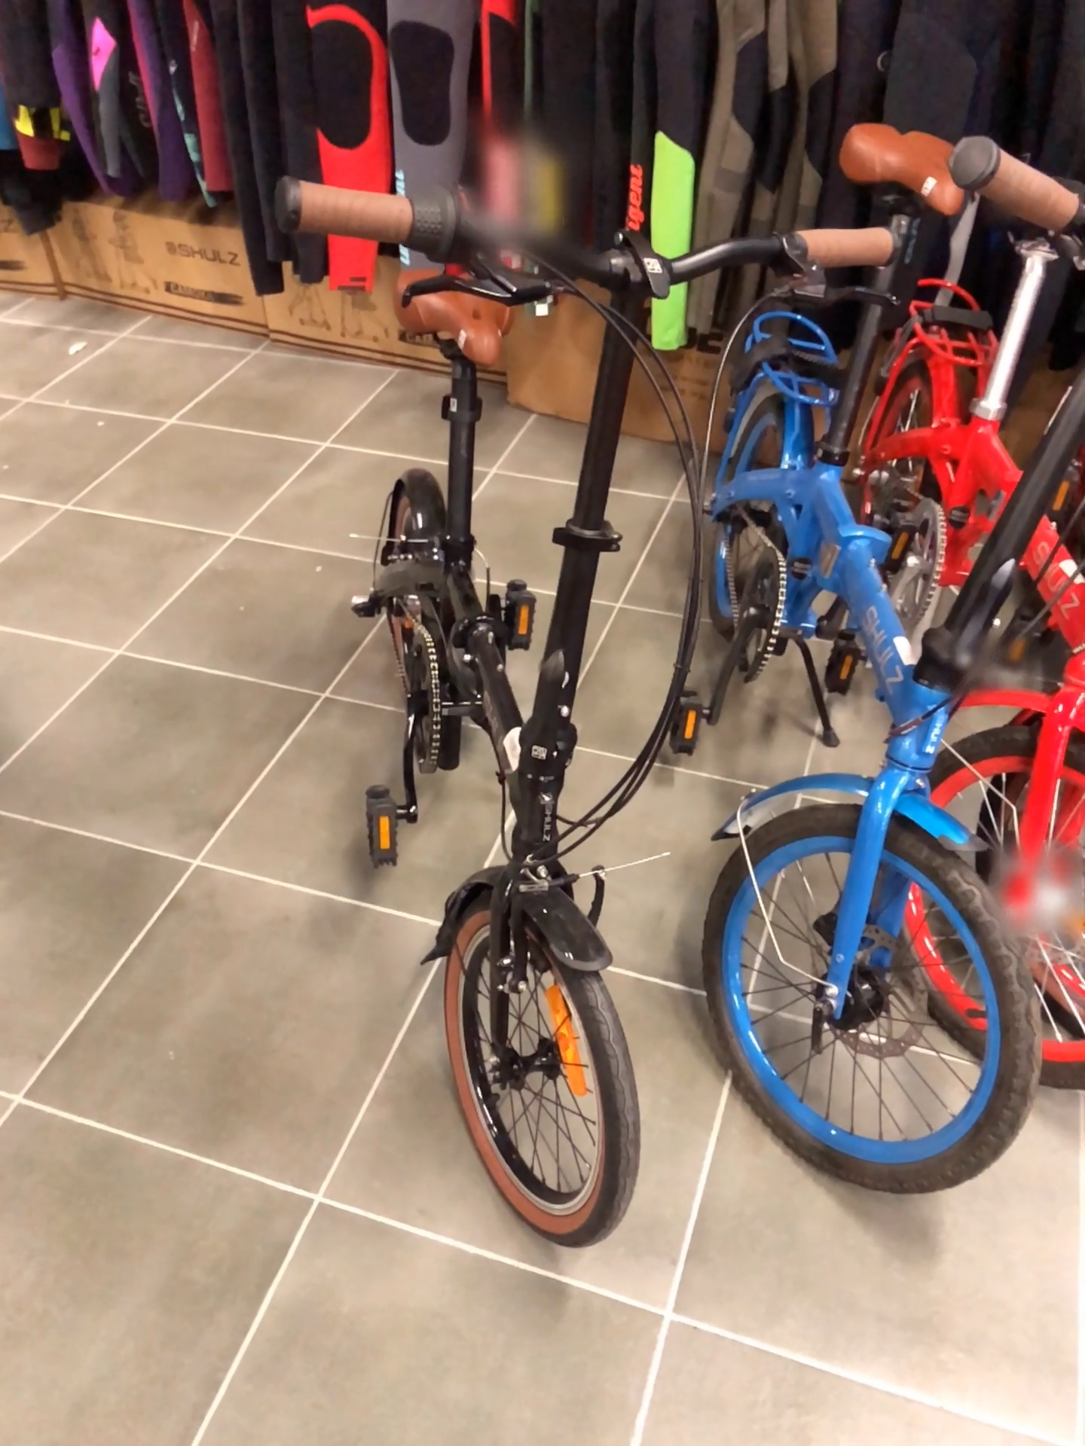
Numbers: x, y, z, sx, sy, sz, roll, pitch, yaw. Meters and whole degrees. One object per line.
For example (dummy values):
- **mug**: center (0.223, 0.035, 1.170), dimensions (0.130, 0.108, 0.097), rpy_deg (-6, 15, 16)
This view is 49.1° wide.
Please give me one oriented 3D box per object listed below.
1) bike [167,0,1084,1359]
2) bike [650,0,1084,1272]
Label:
- **bike**: center (-0.040, -0.201, 1.431), dimensions (0.564, 1.057, 1.280), rpy_deg (-11, 40, -11)
- **bike**: center (0.535, -0.257, 1.537), dimensions (0.567, 1.029, 1.380), rpy_deg (-4, 42, -2)
